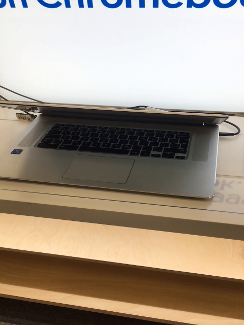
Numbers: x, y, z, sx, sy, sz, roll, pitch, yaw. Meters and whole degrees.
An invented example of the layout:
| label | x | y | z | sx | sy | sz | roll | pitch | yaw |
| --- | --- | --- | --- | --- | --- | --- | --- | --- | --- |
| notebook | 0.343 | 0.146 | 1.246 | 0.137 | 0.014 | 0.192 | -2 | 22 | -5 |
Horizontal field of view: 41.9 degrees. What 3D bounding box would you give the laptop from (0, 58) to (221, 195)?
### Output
| label | x | y | z | sx | sy | sz | roll | pitch | yaw |
| --- | --- | --- | --- | --- | --- | --- | --- | --- | --- |
| laptop | -0.037 | -0.083 | 0.610 | 0.404 | 0.158 | 0.243 | 5 | 39 | 8 |
